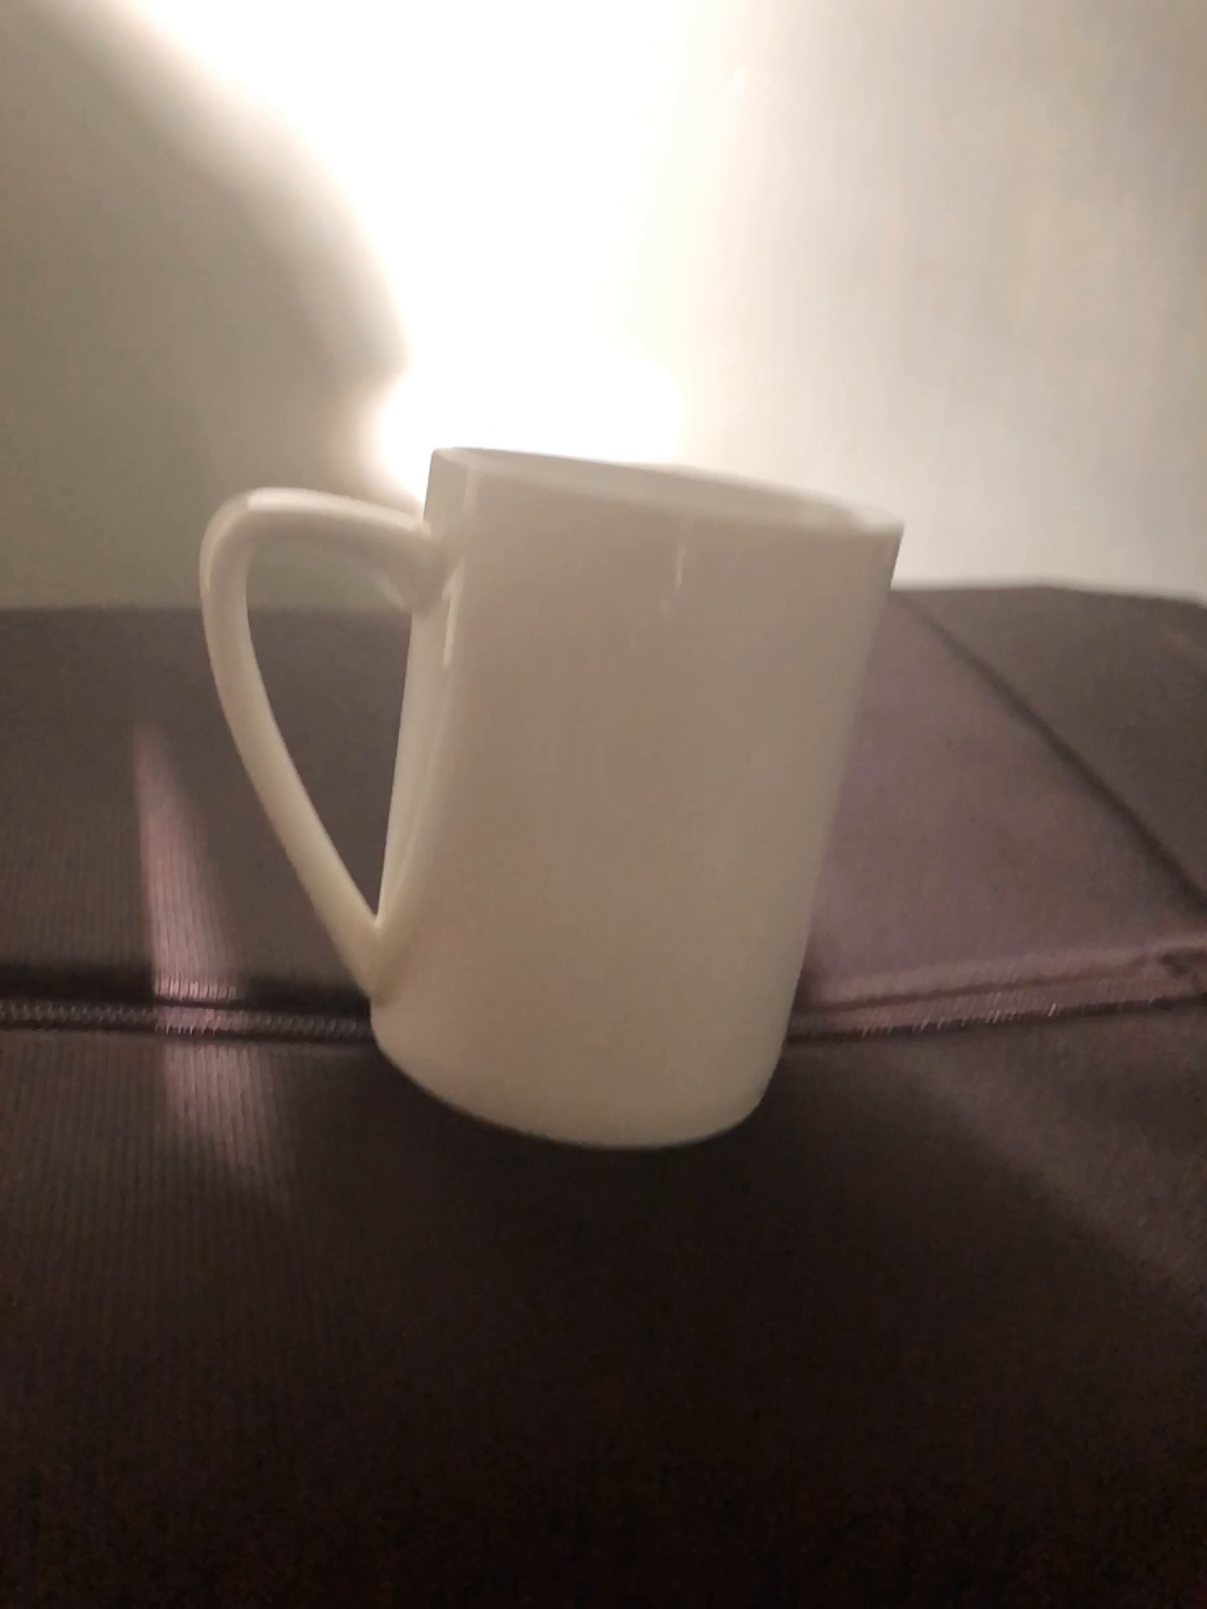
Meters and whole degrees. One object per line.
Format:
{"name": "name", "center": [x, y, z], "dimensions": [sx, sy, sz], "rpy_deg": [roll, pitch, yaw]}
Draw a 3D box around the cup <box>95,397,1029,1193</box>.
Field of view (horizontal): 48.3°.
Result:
{"name": "cup", "center": [-0.008, -0.011, 0.220], "dimensions": [0.108, 0.090, 0.097], "rpy_deg": [9, 16, -1]}
